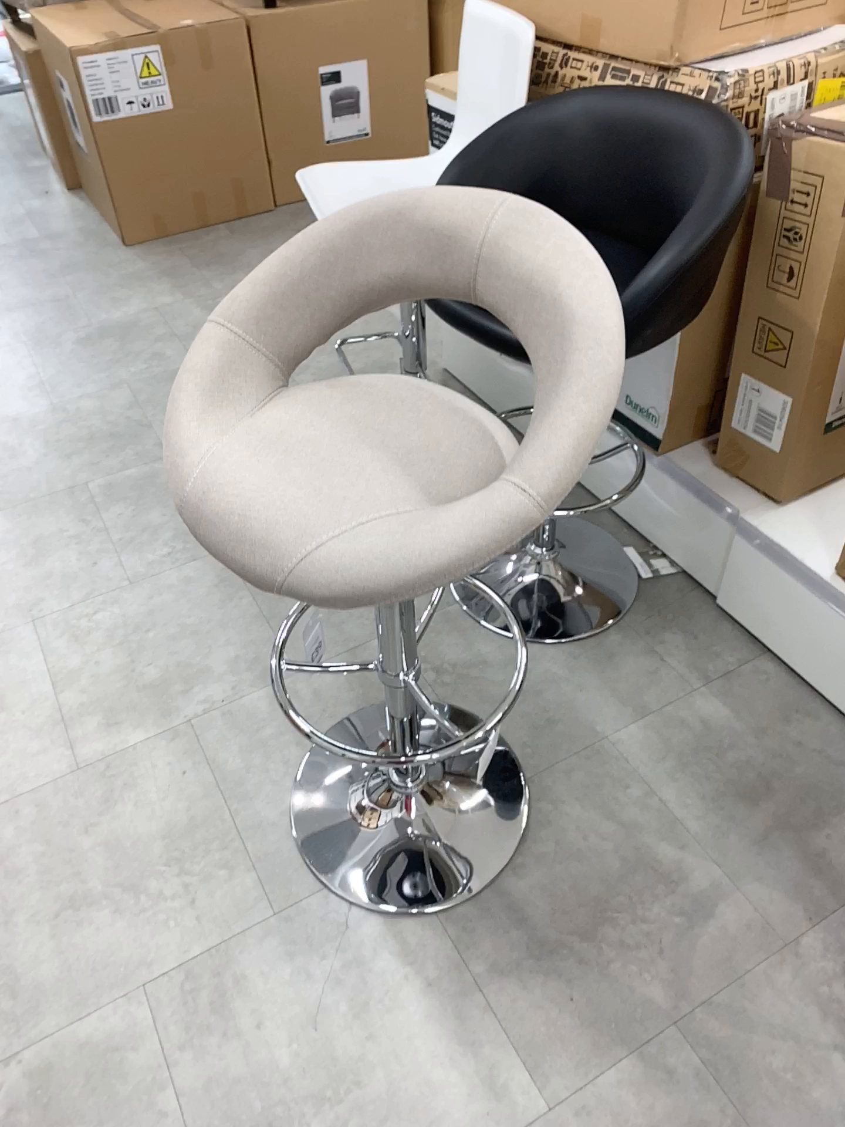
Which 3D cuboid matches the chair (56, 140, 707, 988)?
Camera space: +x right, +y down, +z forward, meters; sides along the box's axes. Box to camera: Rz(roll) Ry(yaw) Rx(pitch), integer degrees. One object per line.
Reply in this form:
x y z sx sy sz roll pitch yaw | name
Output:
-0.040 0.043 1.203 0.465 0.978 0.487 -28 48 -25 | chair

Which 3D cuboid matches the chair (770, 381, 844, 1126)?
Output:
0.849 0.399 0.854 0.574 0.908 0.539 -11 43 -8 | chair

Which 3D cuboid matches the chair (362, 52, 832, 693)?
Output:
0.267 -0.330 1.608 0.485 0.938 0.497 -28 48 -25 | chair

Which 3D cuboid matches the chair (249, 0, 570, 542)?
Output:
-0.033 -0.642 1.930 0.484 1.007 0.539 -11 43 -8 | chair
